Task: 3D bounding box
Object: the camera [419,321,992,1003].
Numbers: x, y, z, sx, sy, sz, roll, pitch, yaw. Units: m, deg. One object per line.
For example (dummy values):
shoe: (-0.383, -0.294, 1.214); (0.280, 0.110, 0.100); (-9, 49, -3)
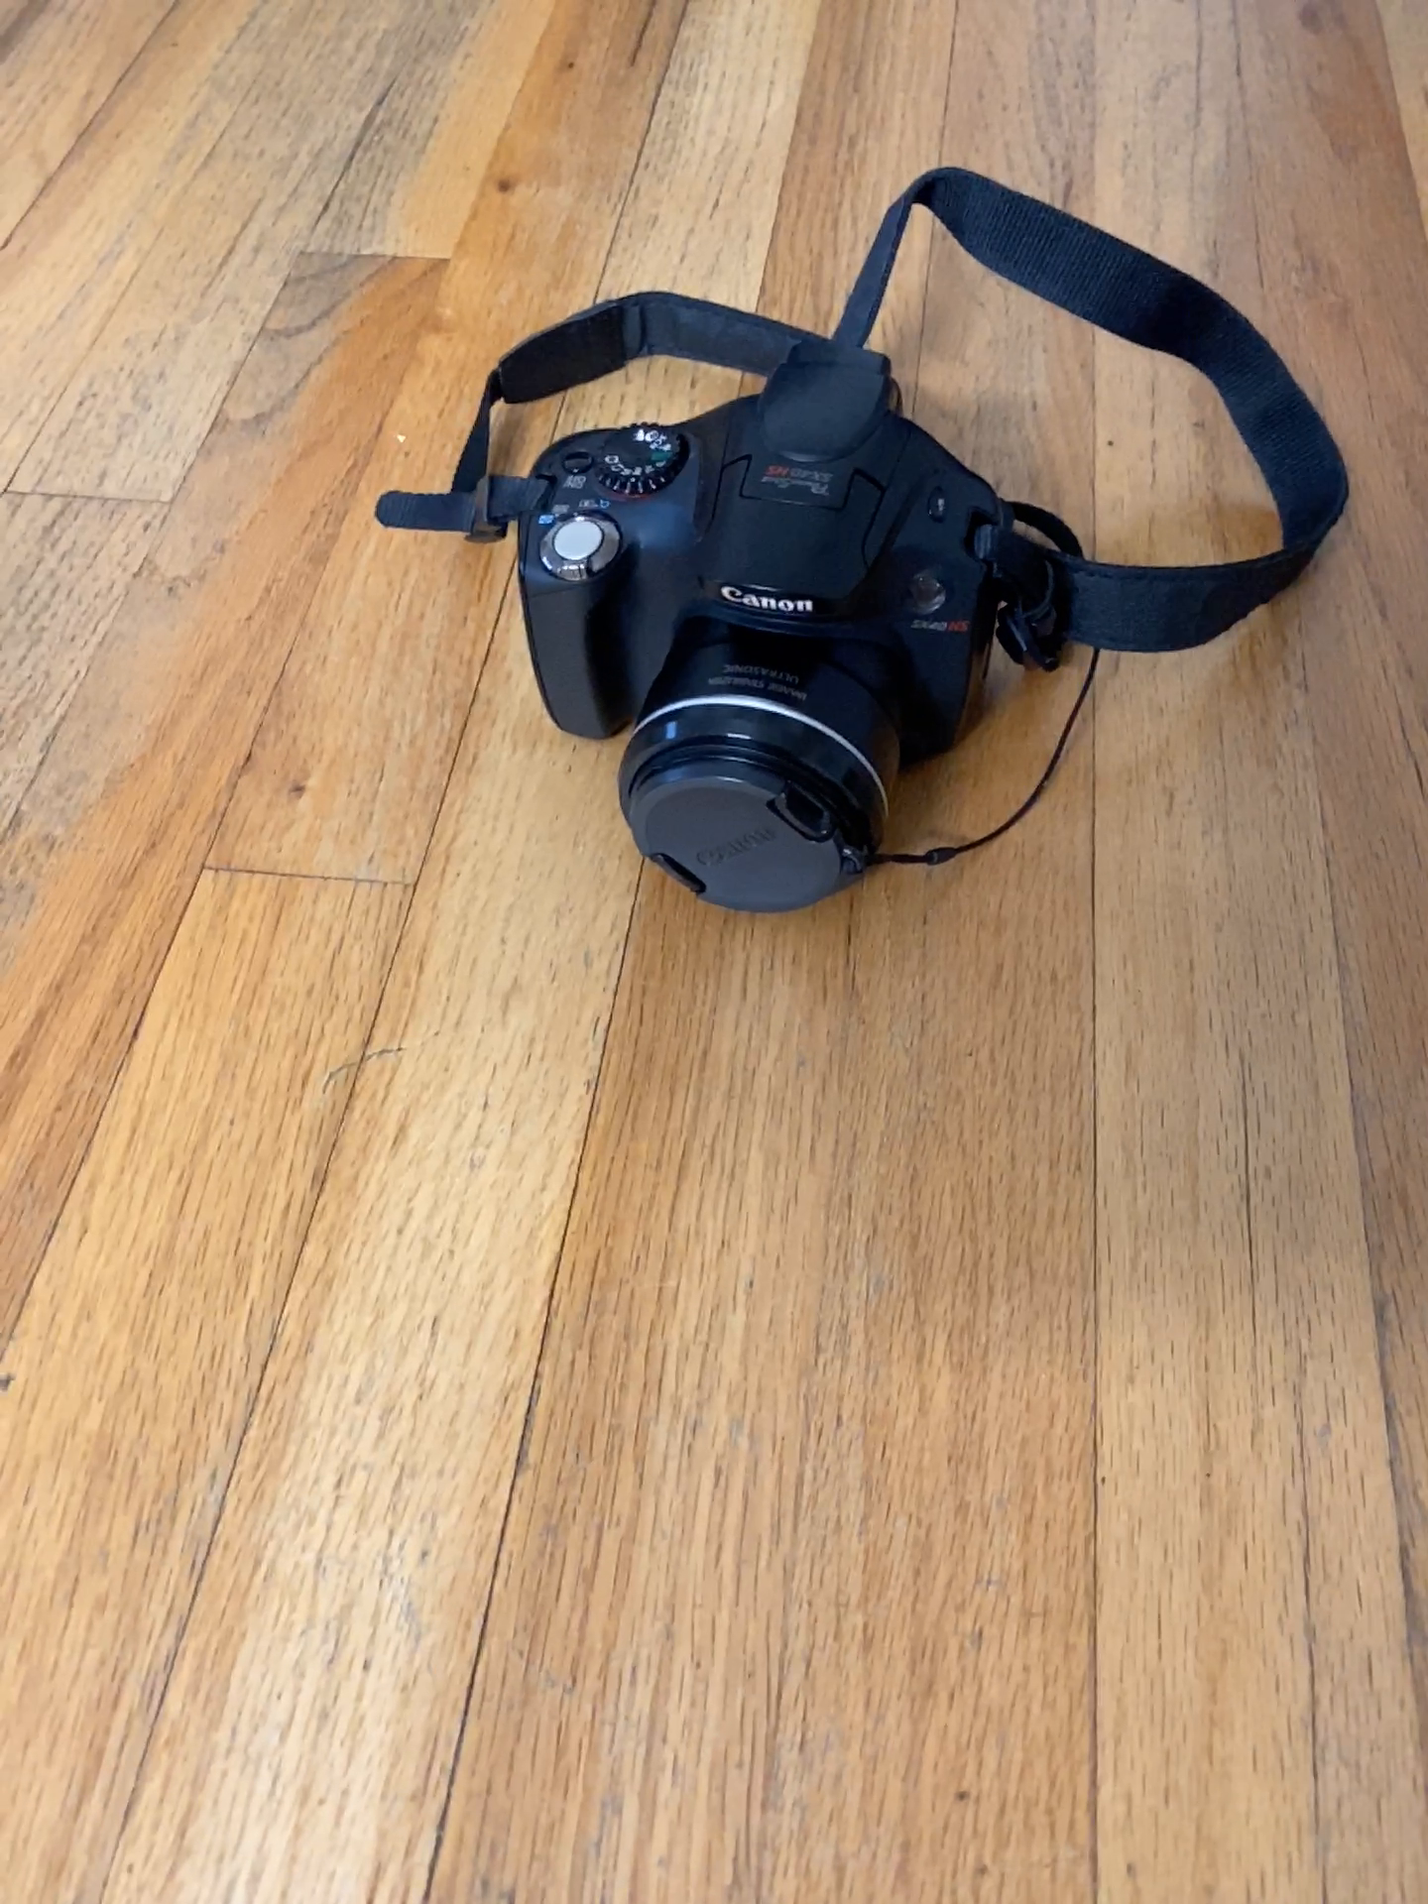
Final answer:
camera: (0.005, -0.073, 0.377); (0.110, 0.110, 0.120); (7, 58, 8)
